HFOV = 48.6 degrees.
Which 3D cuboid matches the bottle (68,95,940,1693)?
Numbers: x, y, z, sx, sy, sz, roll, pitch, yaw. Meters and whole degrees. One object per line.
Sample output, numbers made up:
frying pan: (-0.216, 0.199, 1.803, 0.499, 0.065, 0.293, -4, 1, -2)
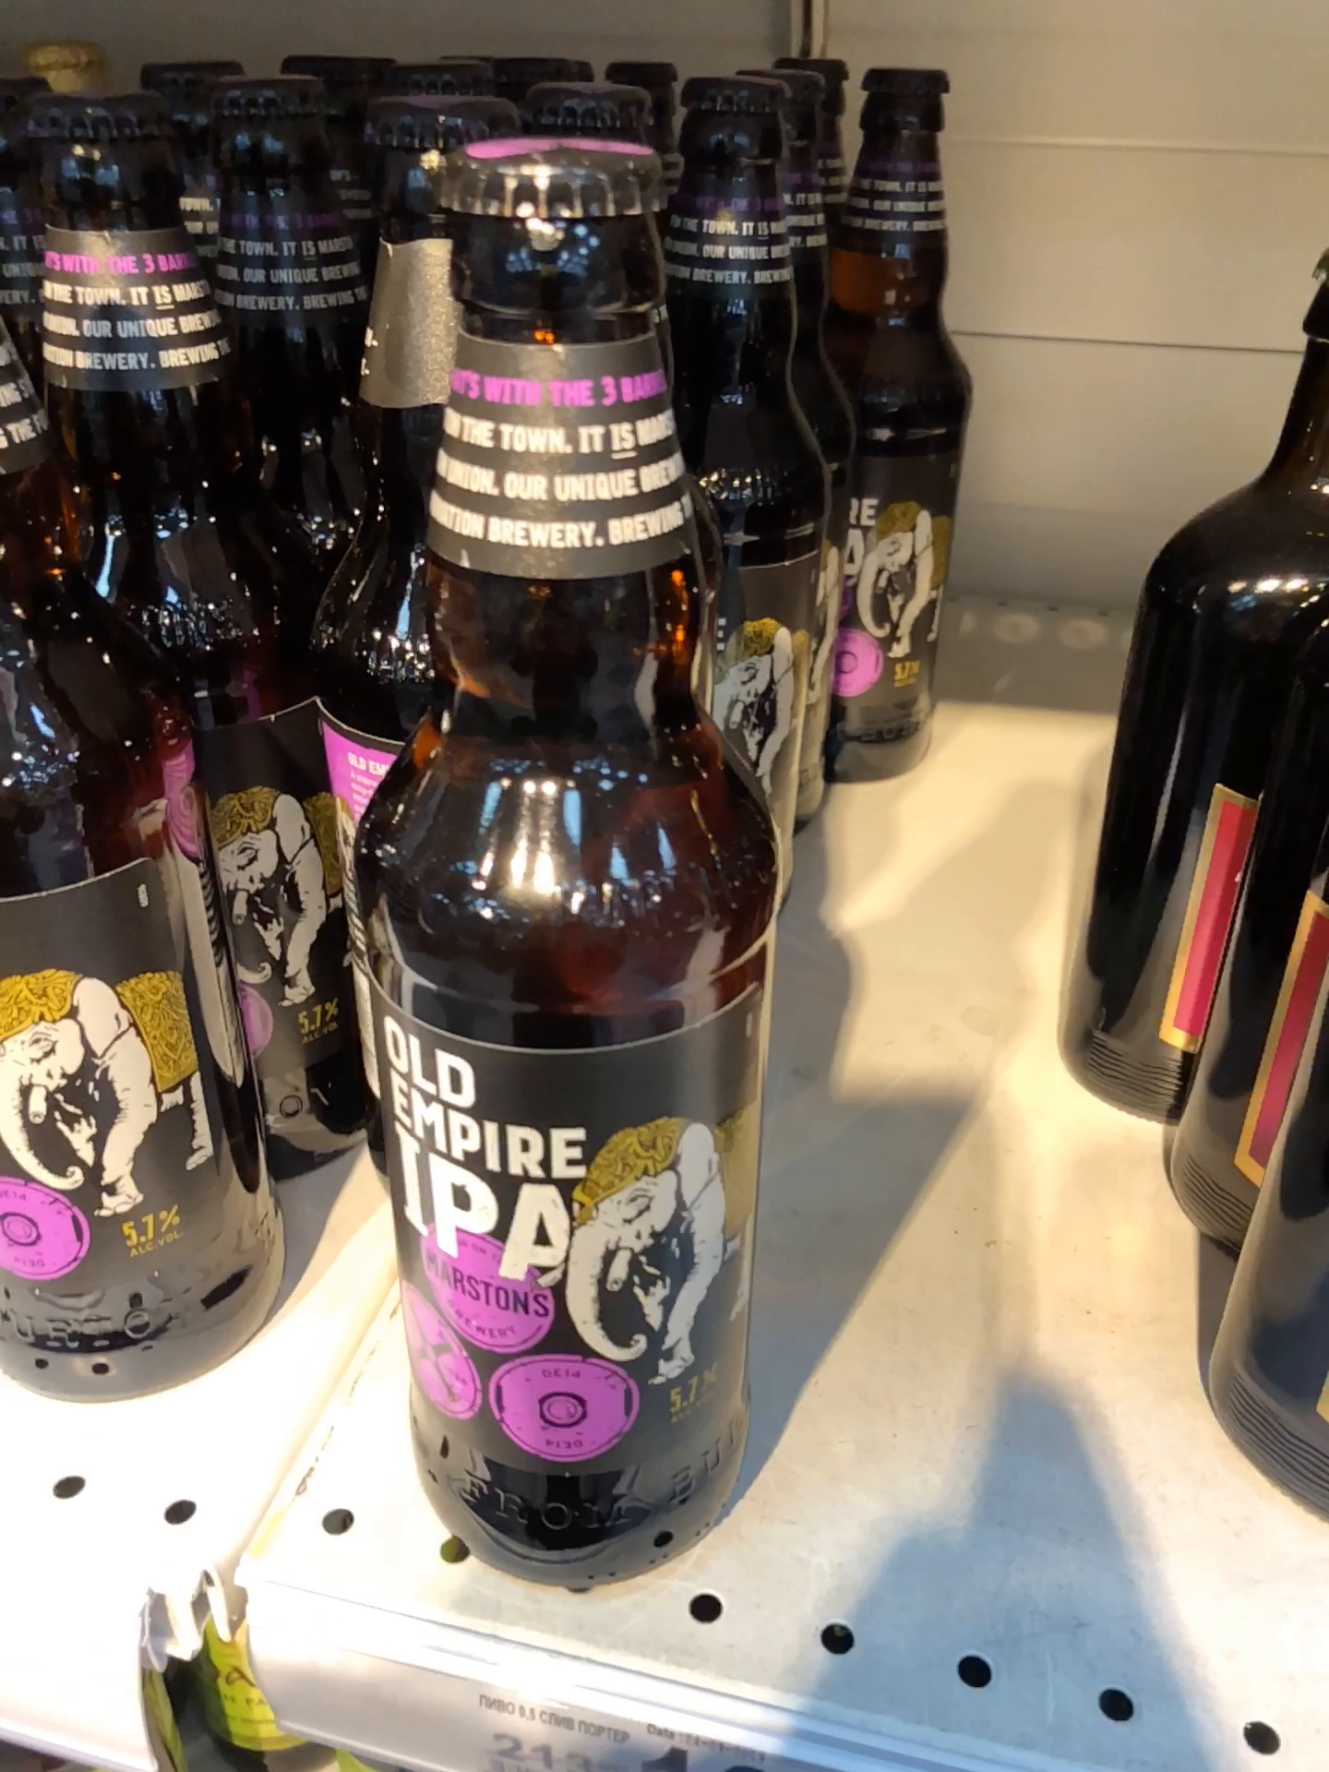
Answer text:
bottle: (-0.014, 0.009, 0.238, 0.080, 0.239, 0.080, 0, 30, 0)
